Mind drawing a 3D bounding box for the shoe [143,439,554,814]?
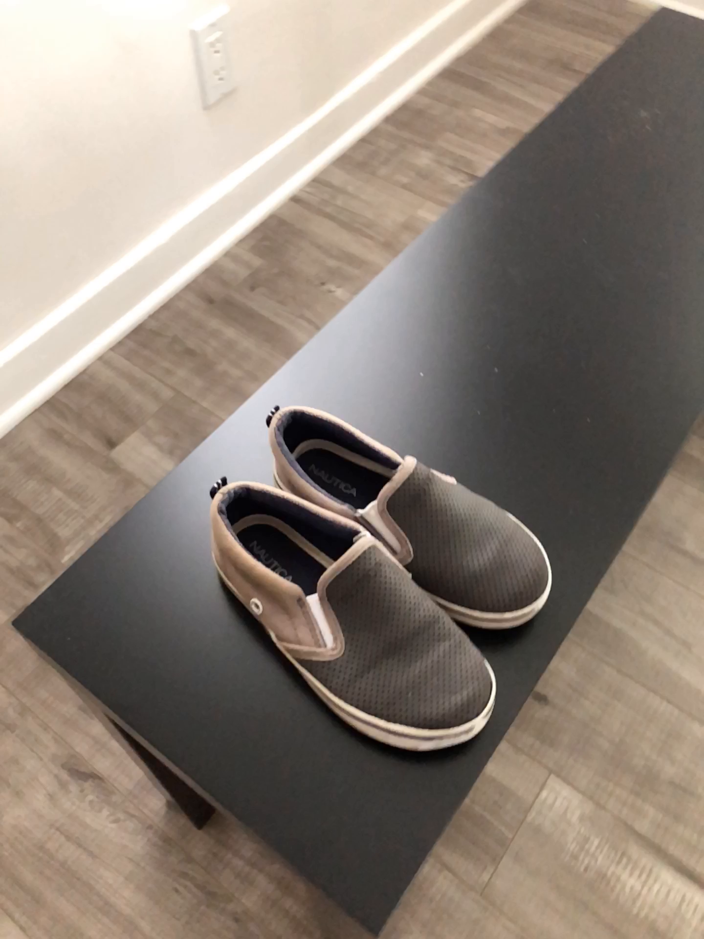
[{"bbox_3d":[-0.006,0.076,0.403,0.190,0.070,0.077,32,62,20],"label":"shoe"}]

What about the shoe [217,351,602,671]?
[{"bbox_3d":[0.027,0.019,0.439,0.190,0.070,0.077,28,60,18],"label":"shoe"}]
